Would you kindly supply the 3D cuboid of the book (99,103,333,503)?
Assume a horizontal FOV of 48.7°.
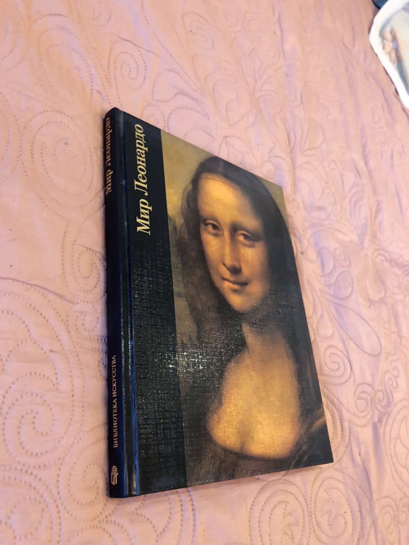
[{"bbox_3d":[0.013,0.022,0.376,0.211,0.030,0.273,14,63,-42],"label":"book"}]
